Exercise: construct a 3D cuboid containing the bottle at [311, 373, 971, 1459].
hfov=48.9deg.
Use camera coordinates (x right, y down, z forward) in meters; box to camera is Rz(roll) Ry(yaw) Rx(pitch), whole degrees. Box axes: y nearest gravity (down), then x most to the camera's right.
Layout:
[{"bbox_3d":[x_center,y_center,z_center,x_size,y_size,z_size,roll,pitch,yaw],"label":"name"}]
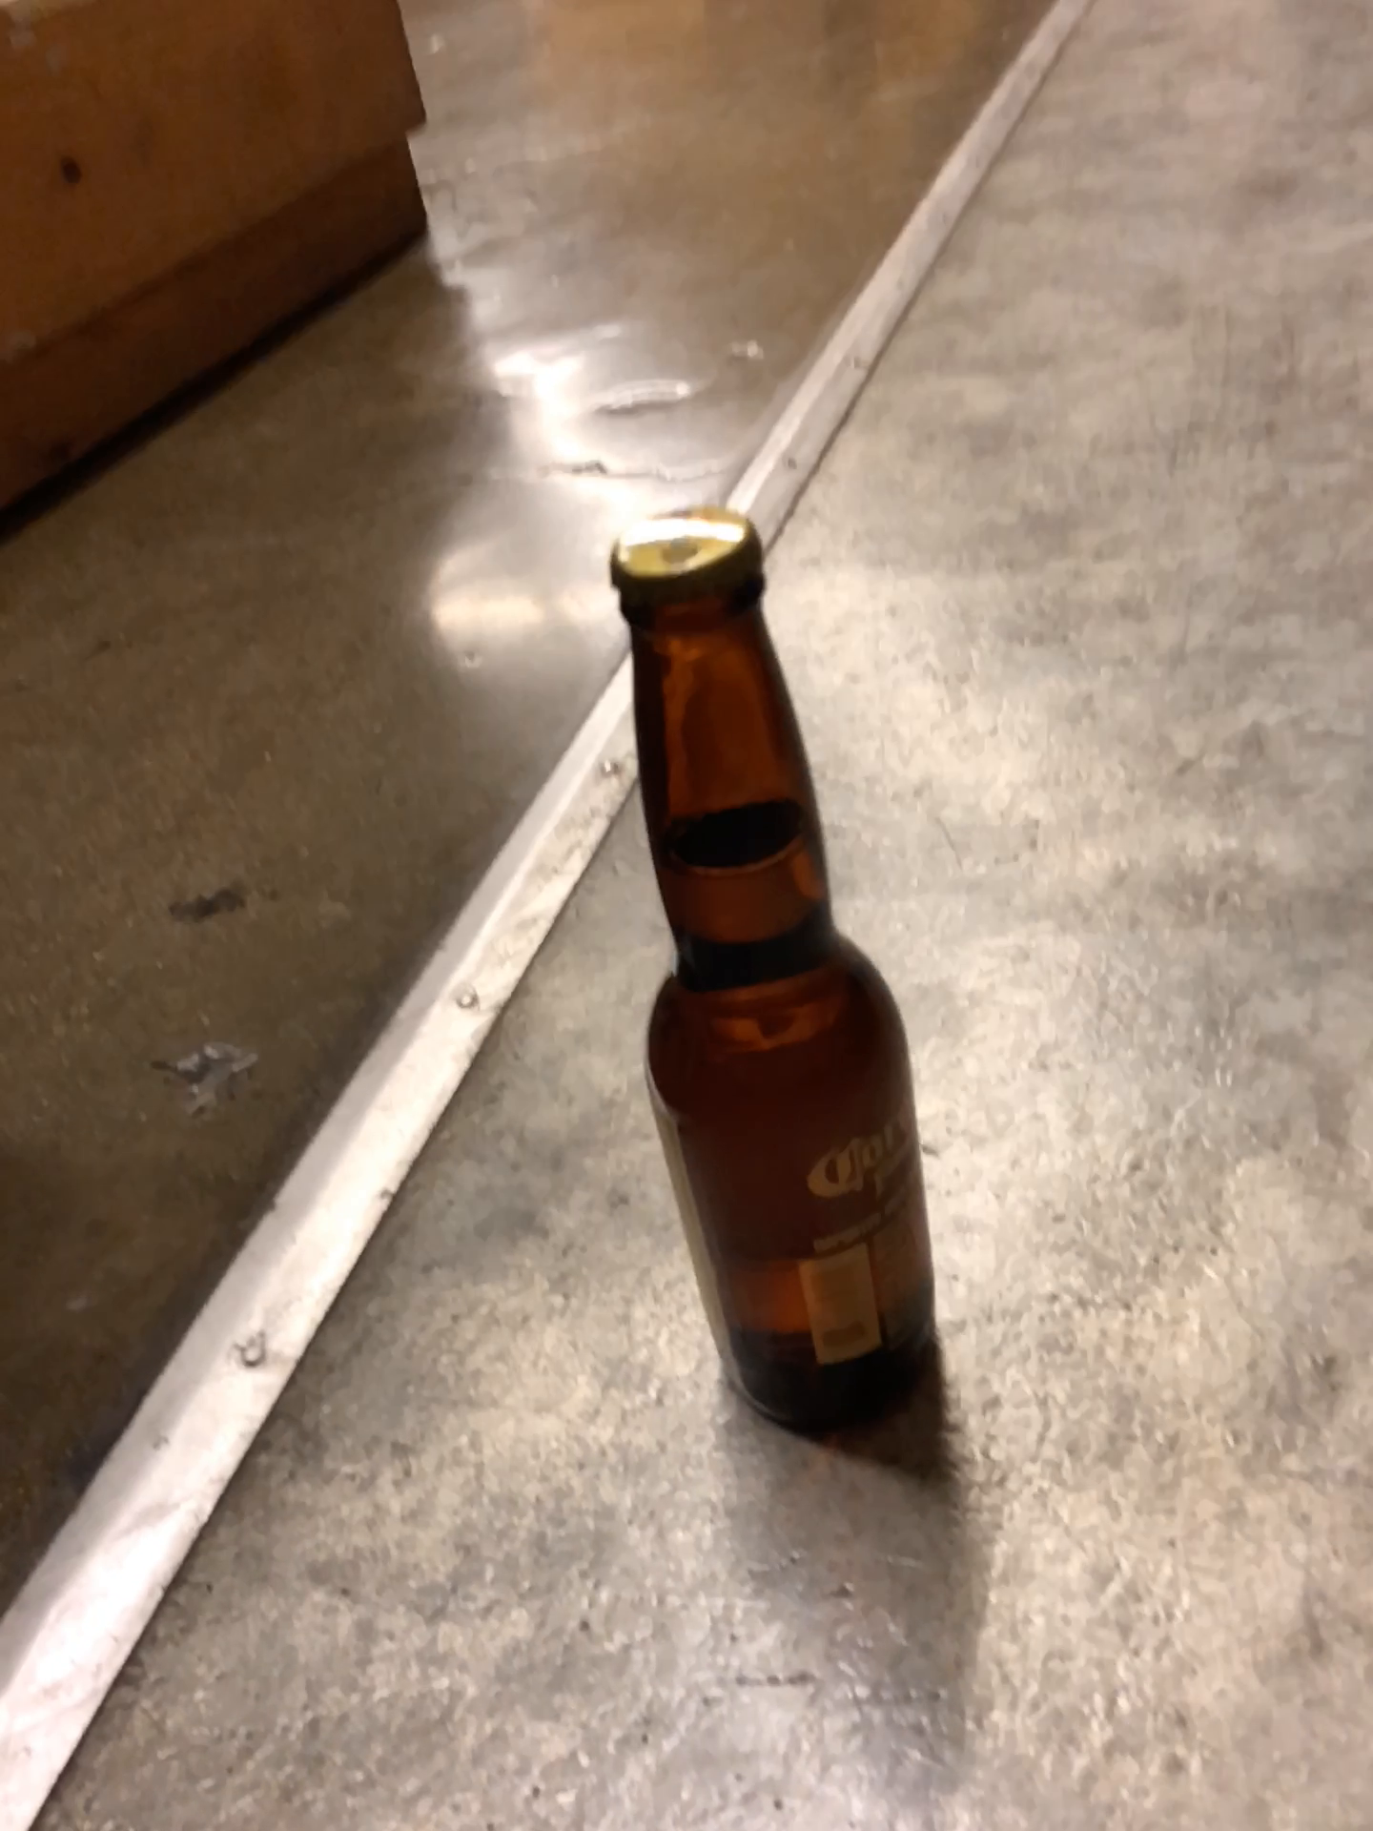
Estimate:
[{"bbox_3d":[0.005,0.010,0.315,0.070,0.216,0.070,-8,38,6],"label":"bottle"}]
